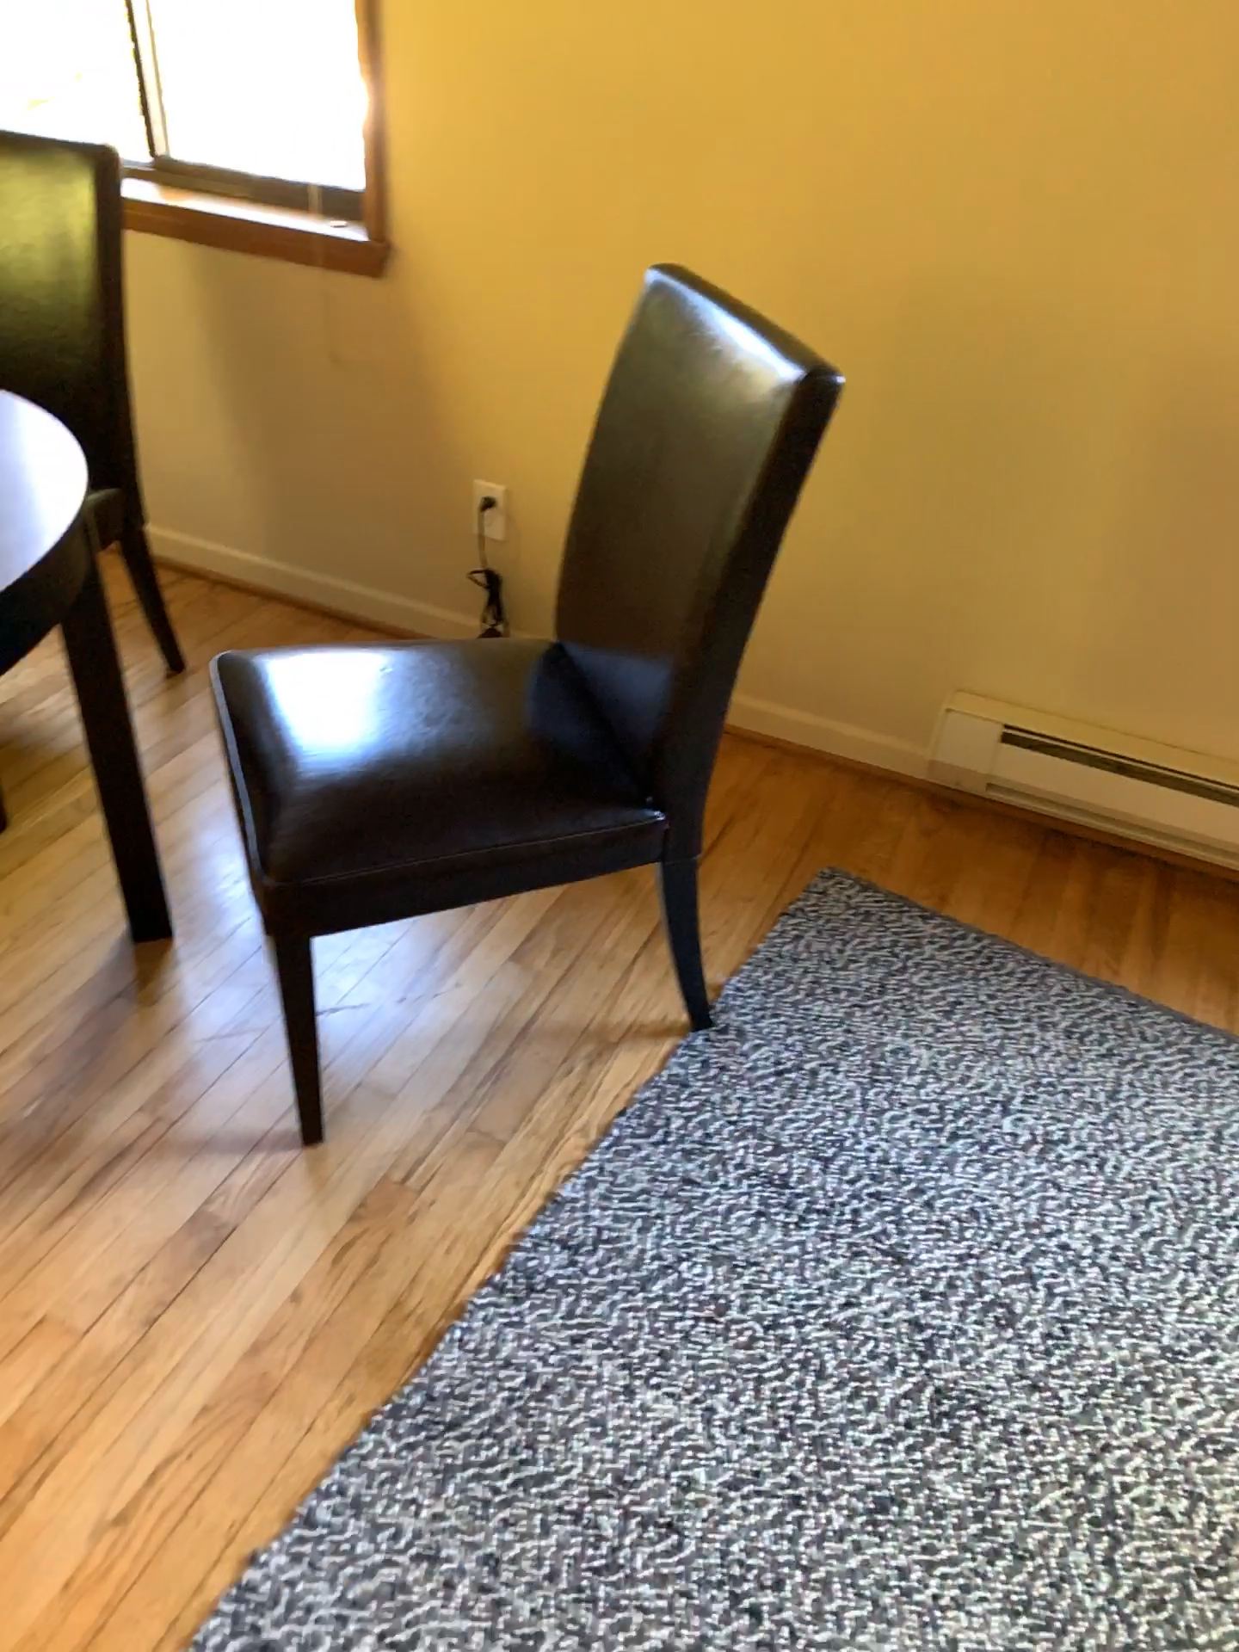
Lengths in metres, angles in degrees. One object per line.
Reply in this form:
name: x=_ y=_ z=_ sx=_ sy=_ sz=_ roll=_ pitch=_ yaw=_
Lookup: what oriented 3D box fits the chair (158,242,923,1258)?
chair: x=-0.151 y=-0.104 z=1.663 sx=0.650 sy=1.083 sz=0.624 roll=-11 pitch=39 yaw=-18
